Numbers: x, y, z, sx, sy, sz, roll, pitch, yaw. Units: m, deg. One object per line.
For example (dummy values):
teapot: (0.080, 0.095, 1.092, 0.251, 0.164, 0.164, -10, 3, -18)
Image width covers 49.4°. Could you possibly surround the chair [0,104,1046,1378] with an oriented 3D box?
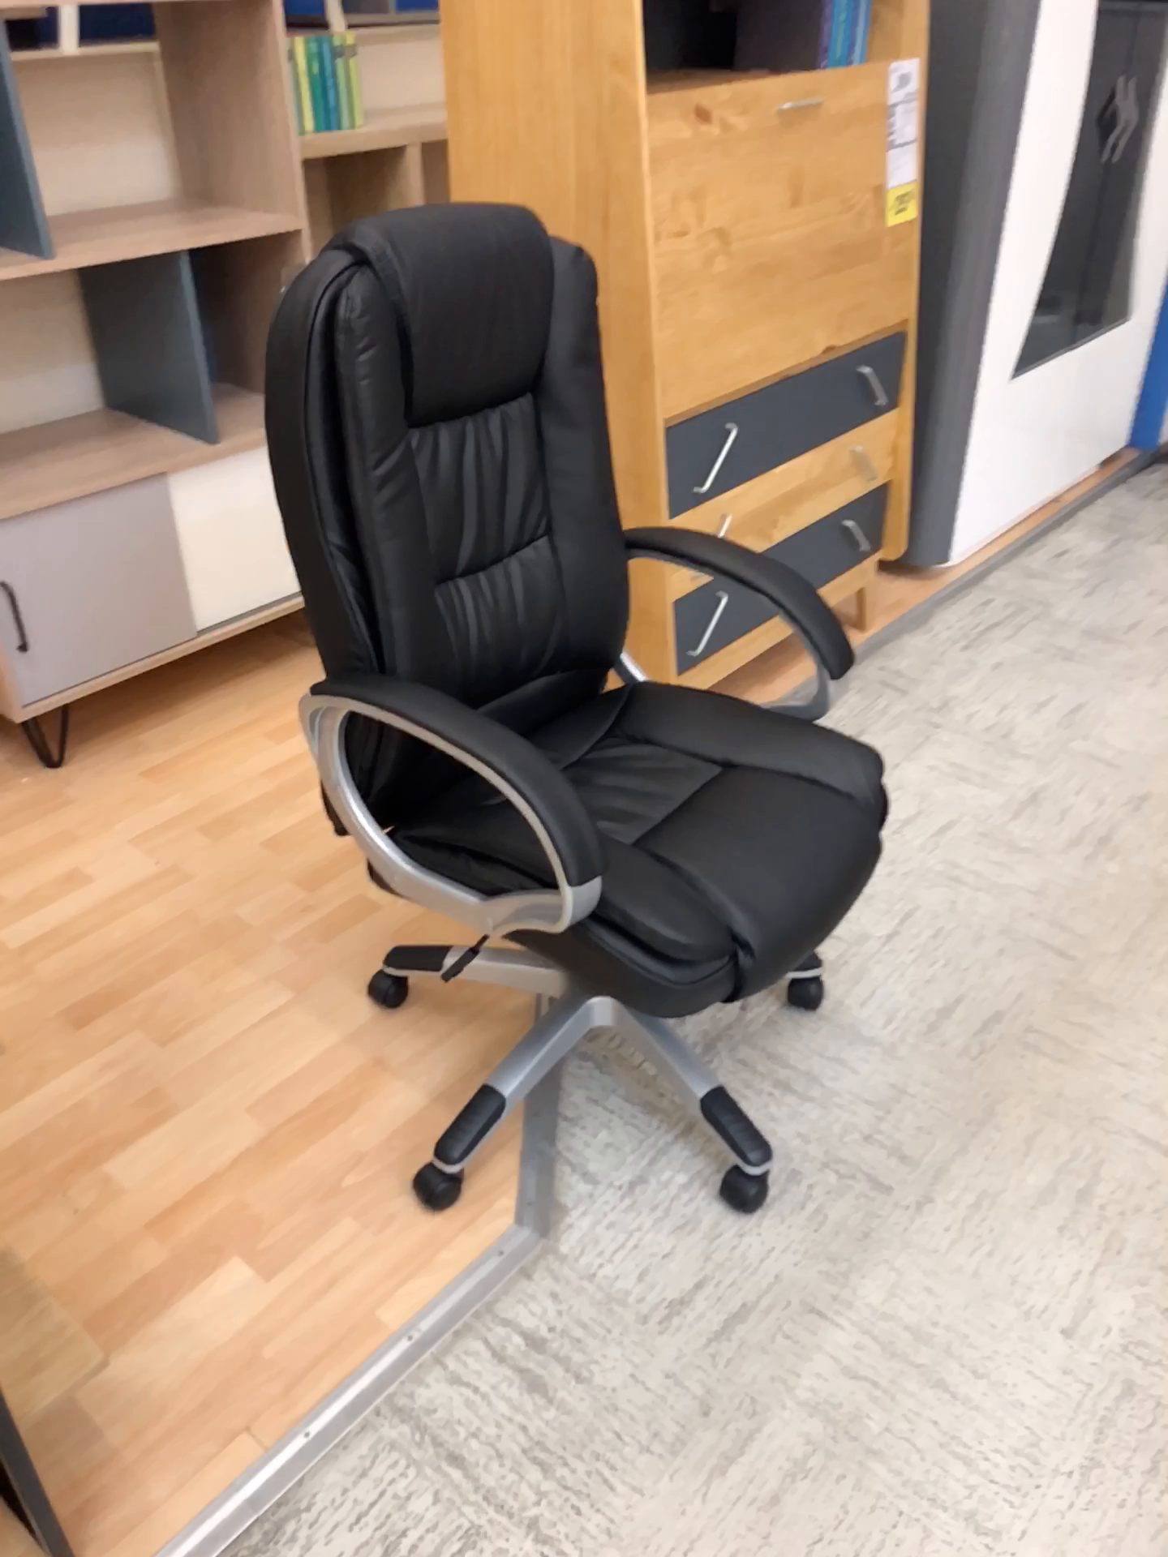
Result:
chair: (-0.026, -0.121, 1.424, 0.680, 1.063, 0.765, 18, 36, 28)
